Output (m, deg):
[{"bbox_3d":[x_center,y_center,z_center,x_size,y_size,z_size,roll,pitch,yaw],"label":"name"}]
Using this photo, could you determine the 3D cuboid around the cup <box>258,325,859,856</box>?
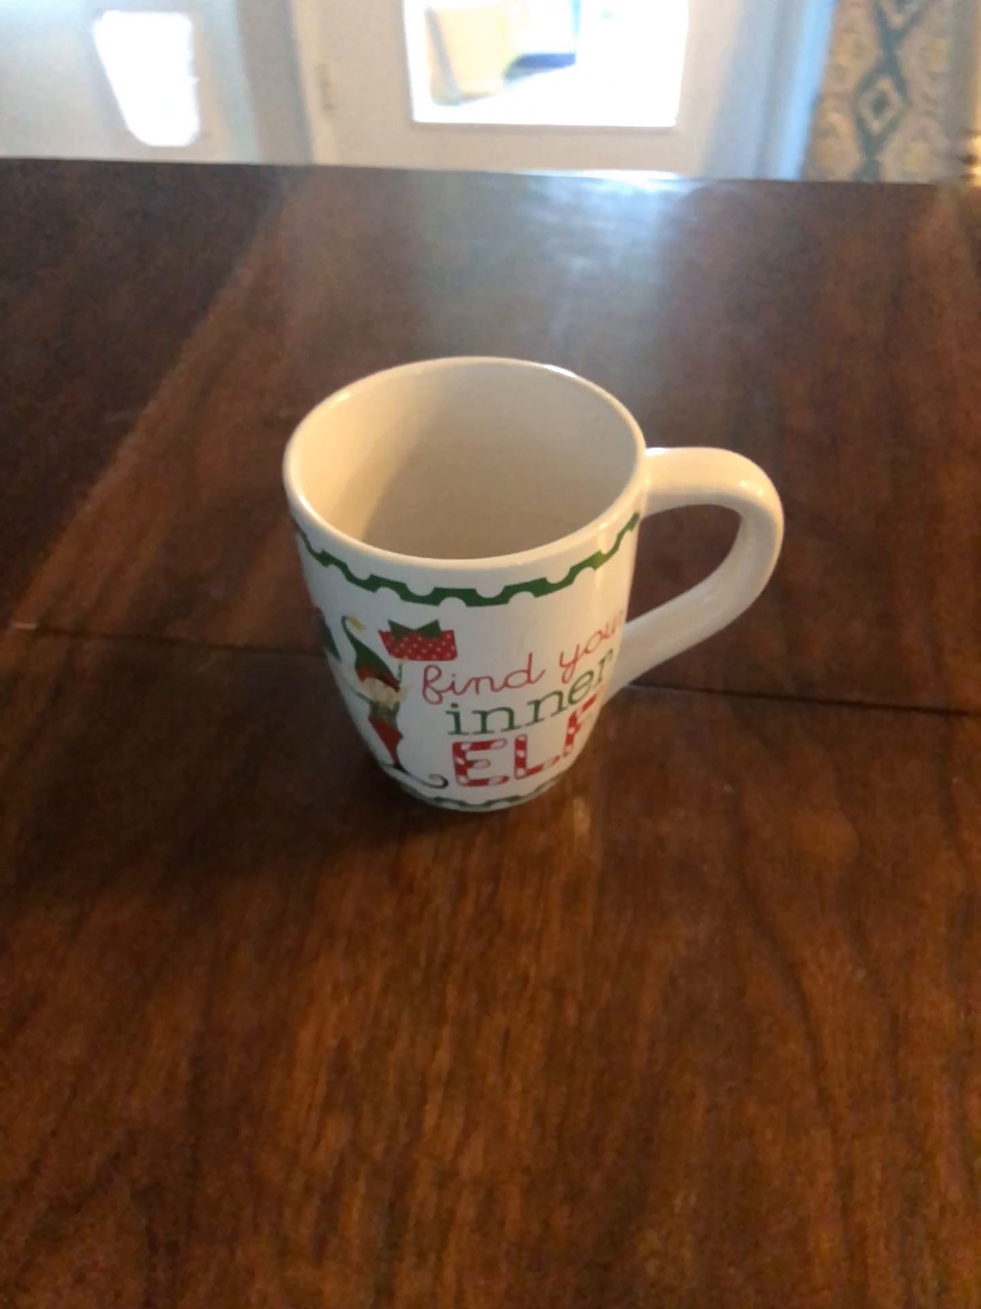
[{"bbox_3d":[0.014,-0.022,0.369,0.160,0.120,0.110,-6,45,-4],"label":"cup"}]
